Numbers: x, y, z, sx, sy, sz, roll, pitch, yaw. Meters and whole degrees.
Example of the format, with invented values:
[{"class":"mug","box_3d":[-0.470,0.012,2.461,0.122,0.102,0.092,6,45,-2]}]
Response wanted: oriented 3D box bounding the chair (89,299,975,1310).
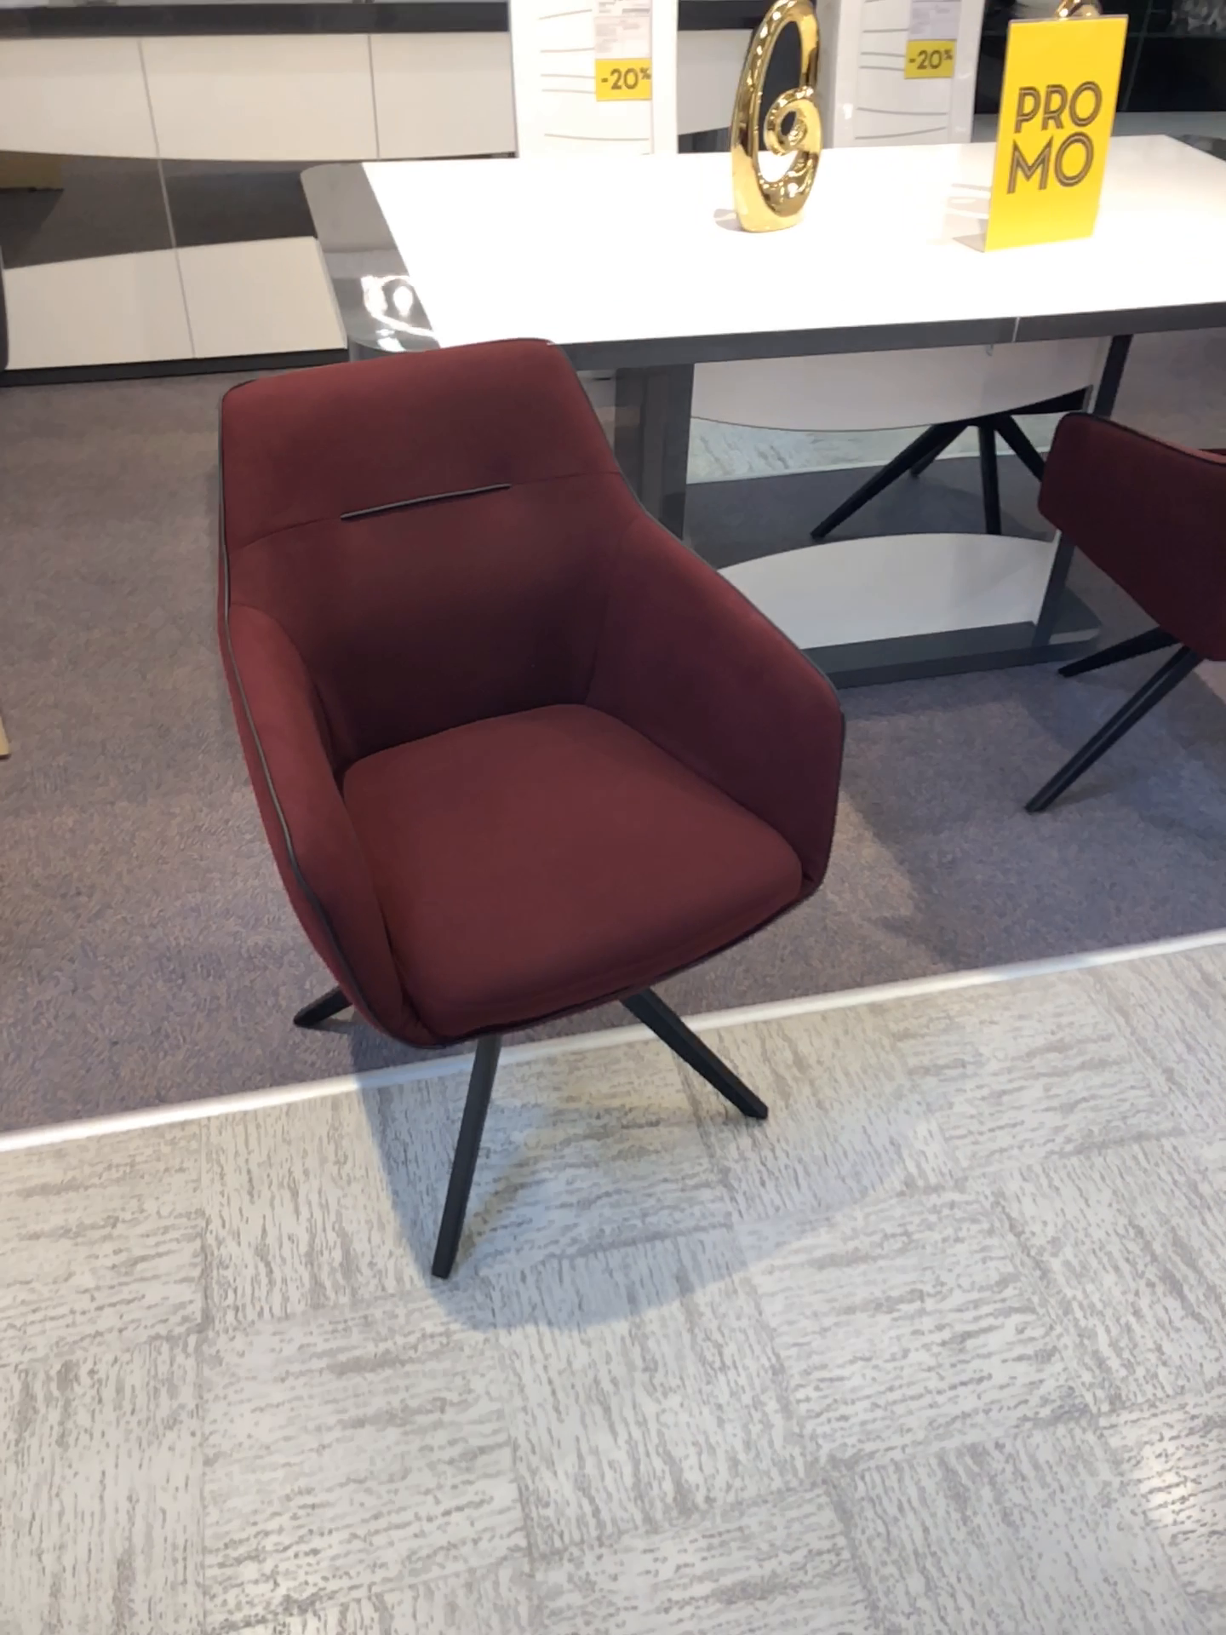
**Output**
[{"class":"chair","box_3d":[-0.108,-0.044,1.396,0.582,0.735,0.572,-18,43,-24]}]
